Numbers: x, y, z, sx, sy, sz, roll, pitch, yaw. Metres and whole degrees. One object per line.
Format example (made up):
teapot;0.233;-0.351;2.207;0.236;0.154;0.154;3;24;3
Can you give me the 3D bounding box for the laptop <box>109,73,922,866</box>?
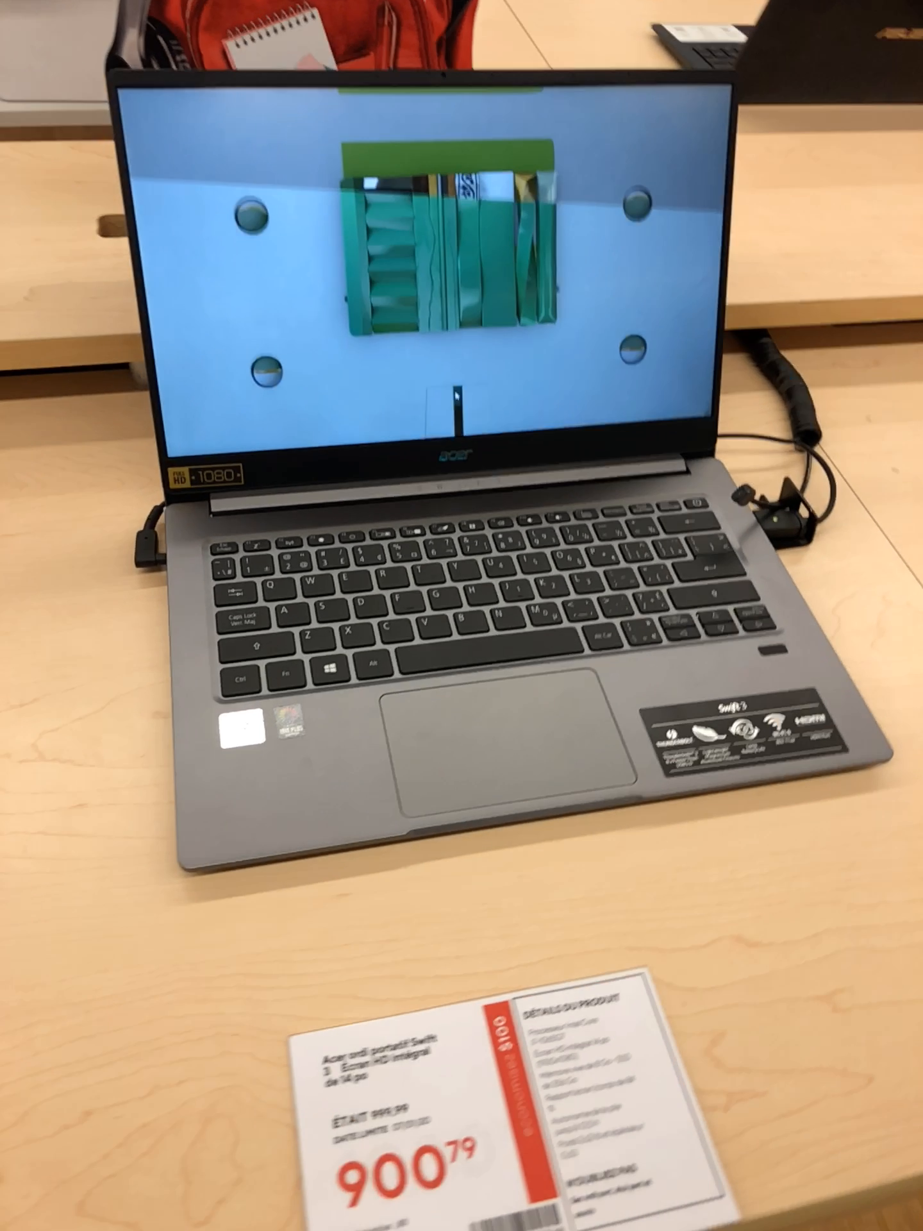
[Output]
laptop;0.017;-0.093;0.468;0.315;0.177;0.312;-6;49;-12
